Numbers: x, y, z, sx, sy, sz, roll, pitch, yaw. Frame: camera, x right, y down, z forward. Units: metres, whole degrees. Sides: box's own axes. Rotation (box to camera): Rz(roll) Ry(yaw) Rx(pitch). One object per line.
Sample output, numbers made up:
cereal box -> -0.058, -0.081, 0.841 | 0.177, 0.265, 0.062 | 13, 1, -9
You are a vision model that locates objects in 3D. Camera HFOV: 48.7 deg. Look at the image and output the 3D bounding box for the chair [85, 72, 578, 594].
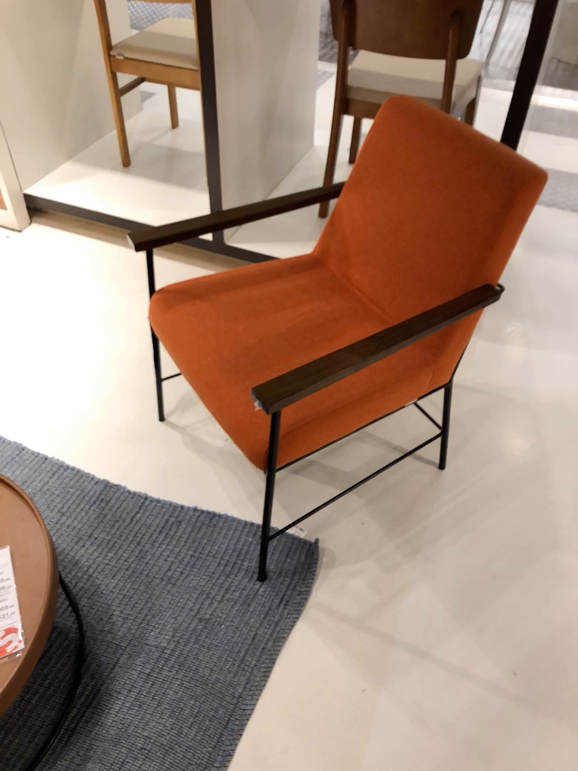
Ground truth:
chair -> 0.053, -0.142, 1.501 | 0.702, 0.824, 0.653 | -23, 49, -22
